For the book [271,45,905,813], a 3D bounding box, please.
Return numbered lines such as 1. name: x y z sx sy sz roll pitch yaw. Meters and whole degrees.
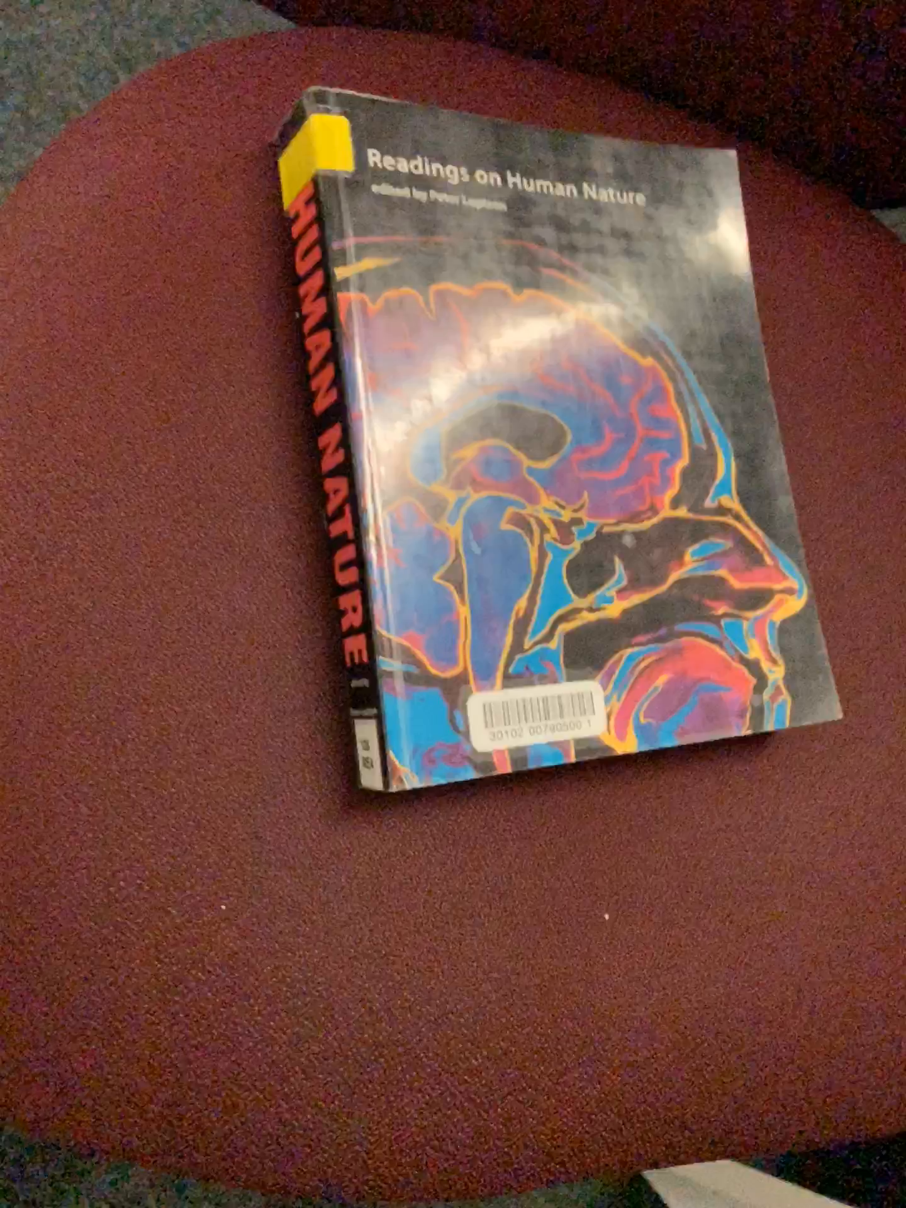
1. book: 0.051 -0.063 0.335 0.200 0.040 0.241 -4 79 -24
